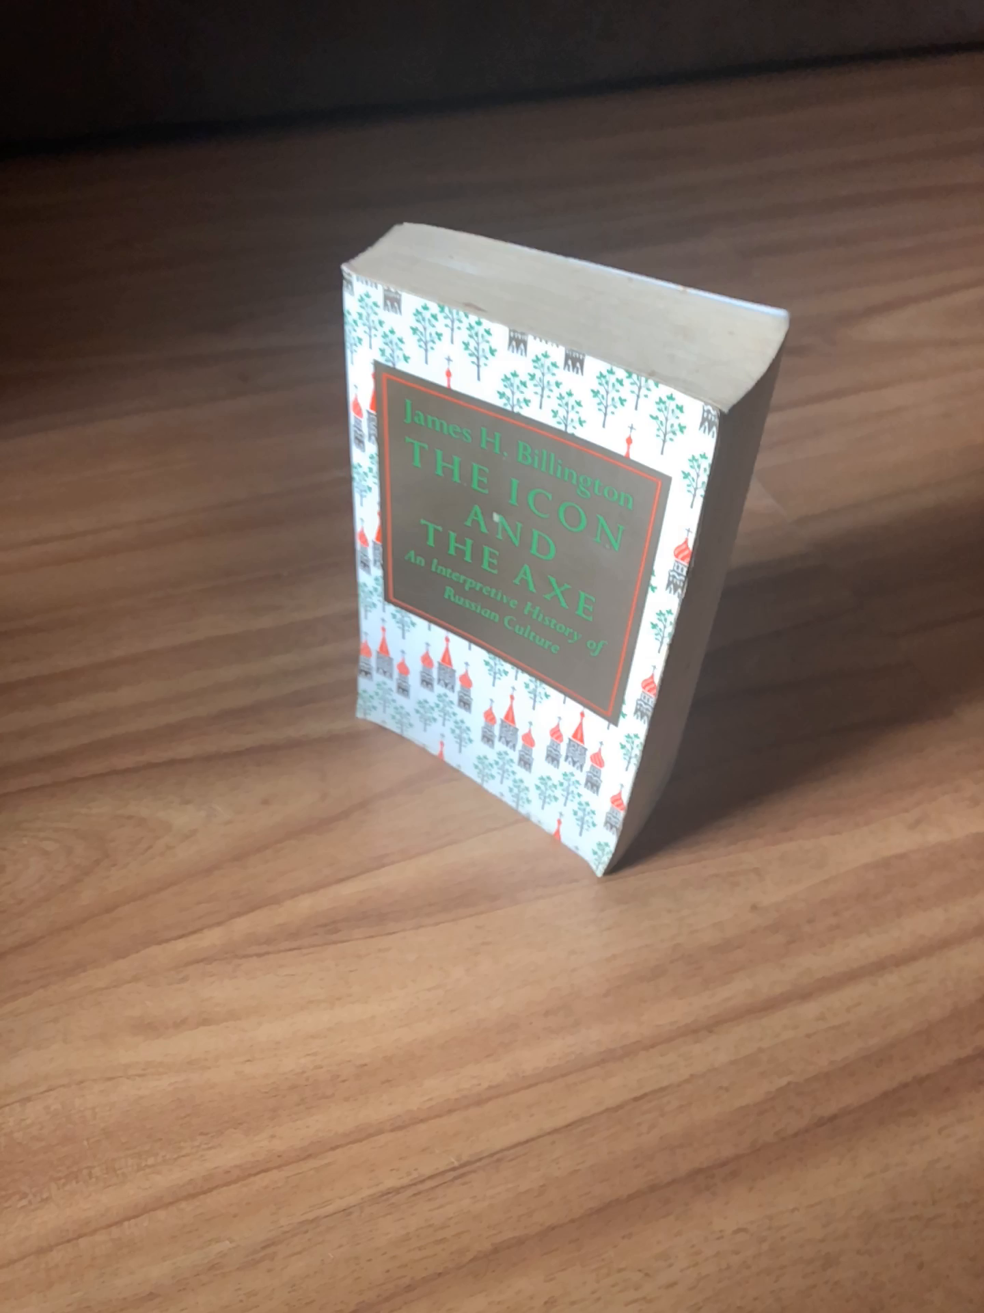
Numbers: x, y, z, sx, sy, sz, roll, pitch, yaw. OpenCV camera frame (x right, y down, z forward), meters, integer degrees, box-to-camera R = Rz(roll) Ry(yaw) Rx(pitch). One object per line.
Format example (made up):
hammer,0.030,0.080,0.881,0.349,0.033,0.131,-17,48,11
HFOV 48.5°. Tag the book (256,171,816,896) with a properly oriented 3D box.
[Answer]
book,0.004,-0.036,0.373,0.150,0.199,0.060,29,48,25
